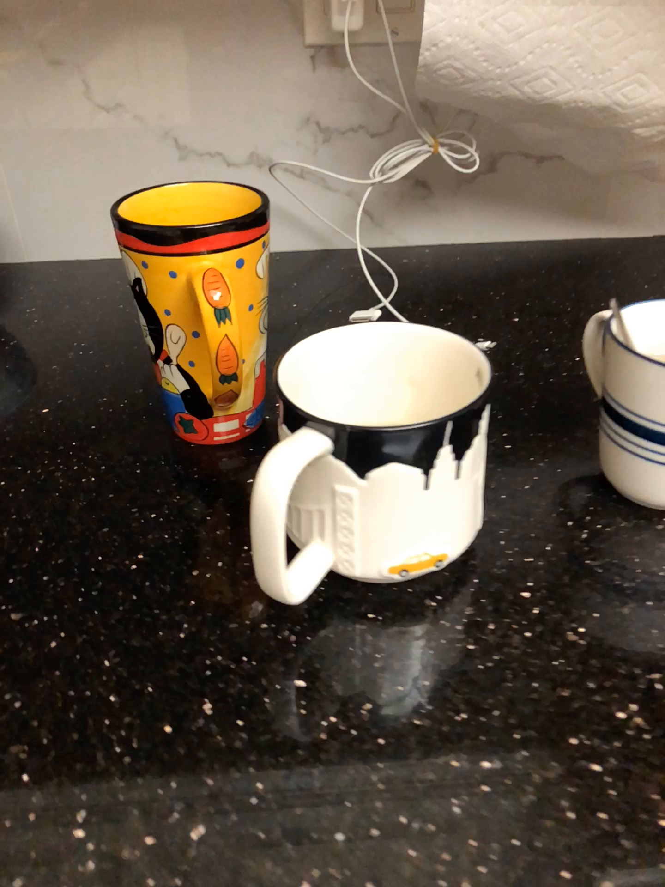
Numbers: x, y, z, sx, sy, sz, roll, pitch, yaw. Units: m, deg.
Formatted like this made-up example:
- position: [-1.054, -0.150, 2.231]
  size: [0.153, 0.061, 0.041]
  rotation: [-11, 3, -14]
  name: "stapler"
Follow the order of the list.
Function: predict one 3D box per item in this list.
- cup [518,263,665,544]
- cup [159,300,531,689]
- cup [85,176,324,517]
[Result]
- position: [0.182, -0.028, 0.422]
  size: [0.100, 0.109, 0.090]
  rotation: [-21, 38, -26]
  name: "cup"
- position: [0.011, 0.014, 0.372]
  size: [0.100, 0.109, 0.151]
  rotation: [26, 42, 34]
  name: "cup"
- position: [-0.076, -0.064, 0.442]
  size: [0.090, 0.149, 0.131]
  rotation: [-16, 37, -21]
  name: "cup"
